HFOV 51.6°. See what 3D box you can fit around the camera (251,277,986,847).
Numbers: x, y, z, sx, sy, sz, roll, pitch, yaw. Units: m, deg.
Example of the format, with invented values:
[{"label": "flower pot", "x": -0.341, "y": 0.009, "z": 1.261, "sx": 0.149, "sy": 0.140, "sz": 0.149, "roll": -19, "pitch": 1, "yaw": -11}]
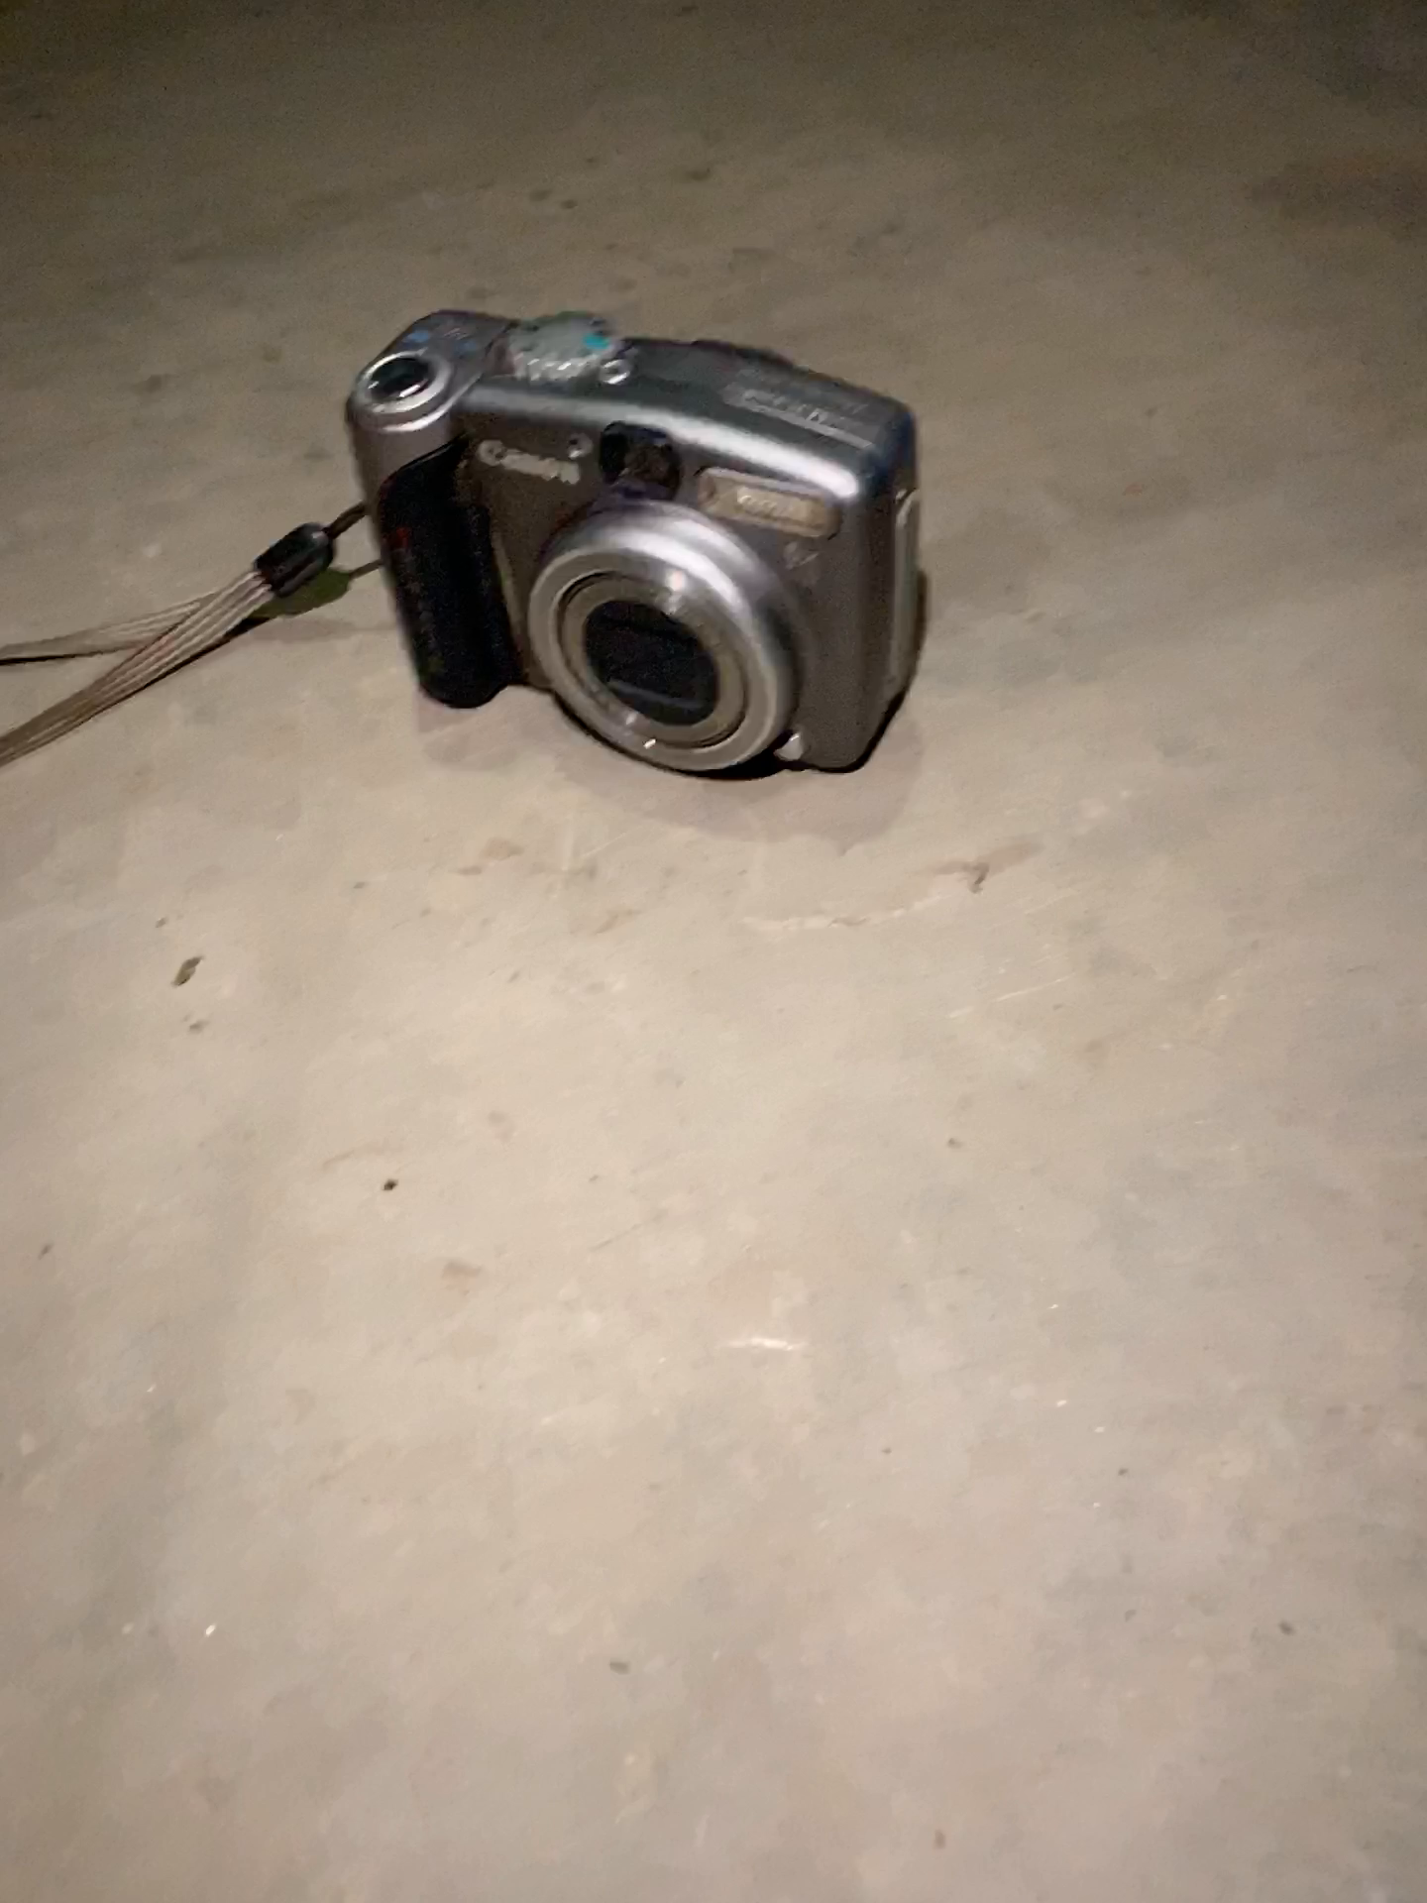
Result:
[{"label": "camera", "x": -0.015, "y": -0.070, "z": 0.260, "sx": 0.108, "sy": 0.060, "sz": 0.048, "roll": 18, "pitch": 52, "yaw": 16}]
